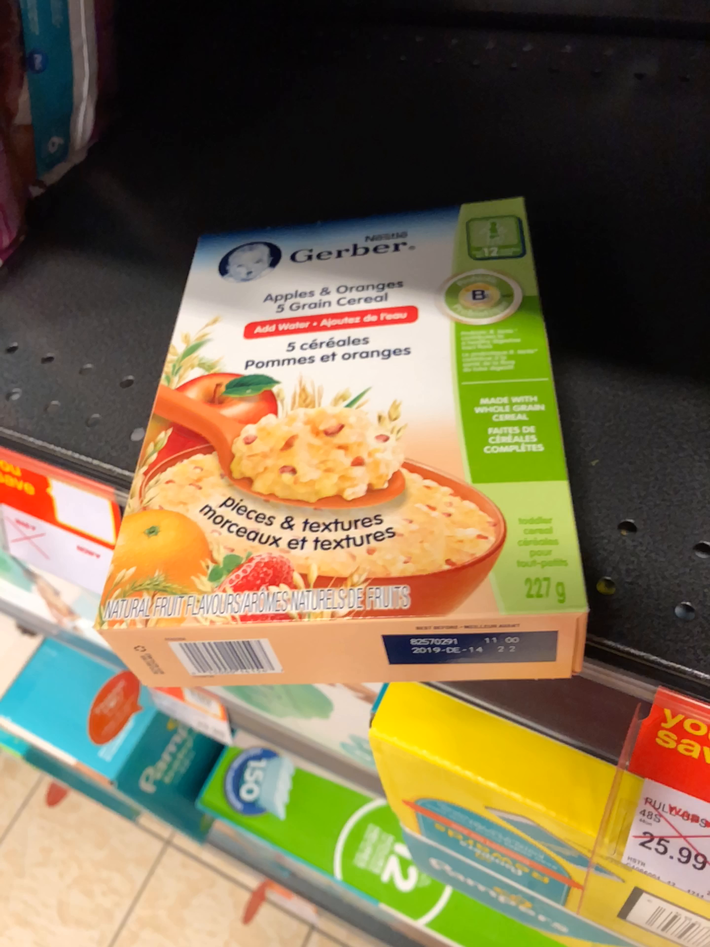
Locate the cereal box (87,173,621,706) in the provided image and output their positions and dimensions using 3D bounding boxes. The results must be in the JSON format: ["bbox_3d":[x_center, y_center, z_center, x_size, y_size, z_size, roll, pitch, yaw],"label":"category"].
[{"bbox_3d":[0.005,-0.024,0.304,0.150,0.050,0.210,-4,52,9],"label":"cereal box"}]
